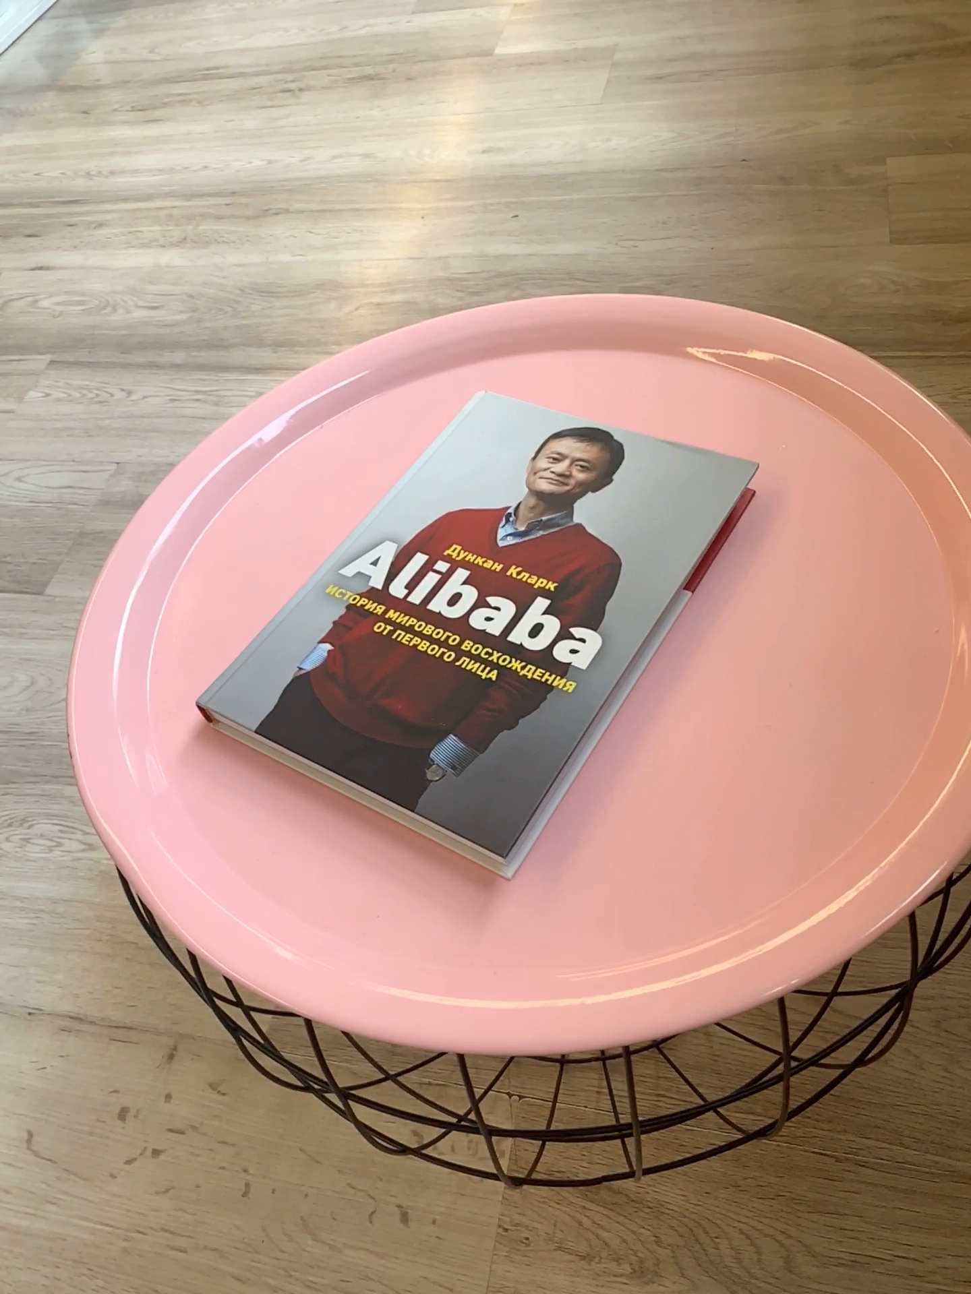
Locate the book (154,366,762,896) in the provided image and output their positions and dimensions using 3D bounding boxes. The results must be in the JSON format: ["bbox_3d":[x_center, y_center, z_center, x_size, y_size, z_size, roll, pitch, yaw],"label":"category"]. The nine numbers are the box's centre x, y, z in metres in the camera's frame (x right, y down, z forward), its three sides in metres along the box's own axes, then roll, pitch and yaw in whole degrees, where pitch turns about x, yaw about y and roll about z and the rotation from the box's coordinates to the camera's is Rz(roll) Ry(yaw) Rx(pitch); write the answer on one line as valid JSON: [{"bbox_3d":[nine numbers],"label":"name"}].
[{"bbox_3d":[-0.007,-0.030,0.467,0.180,0.026,0.240,23,61,26],"label":"book"}]
